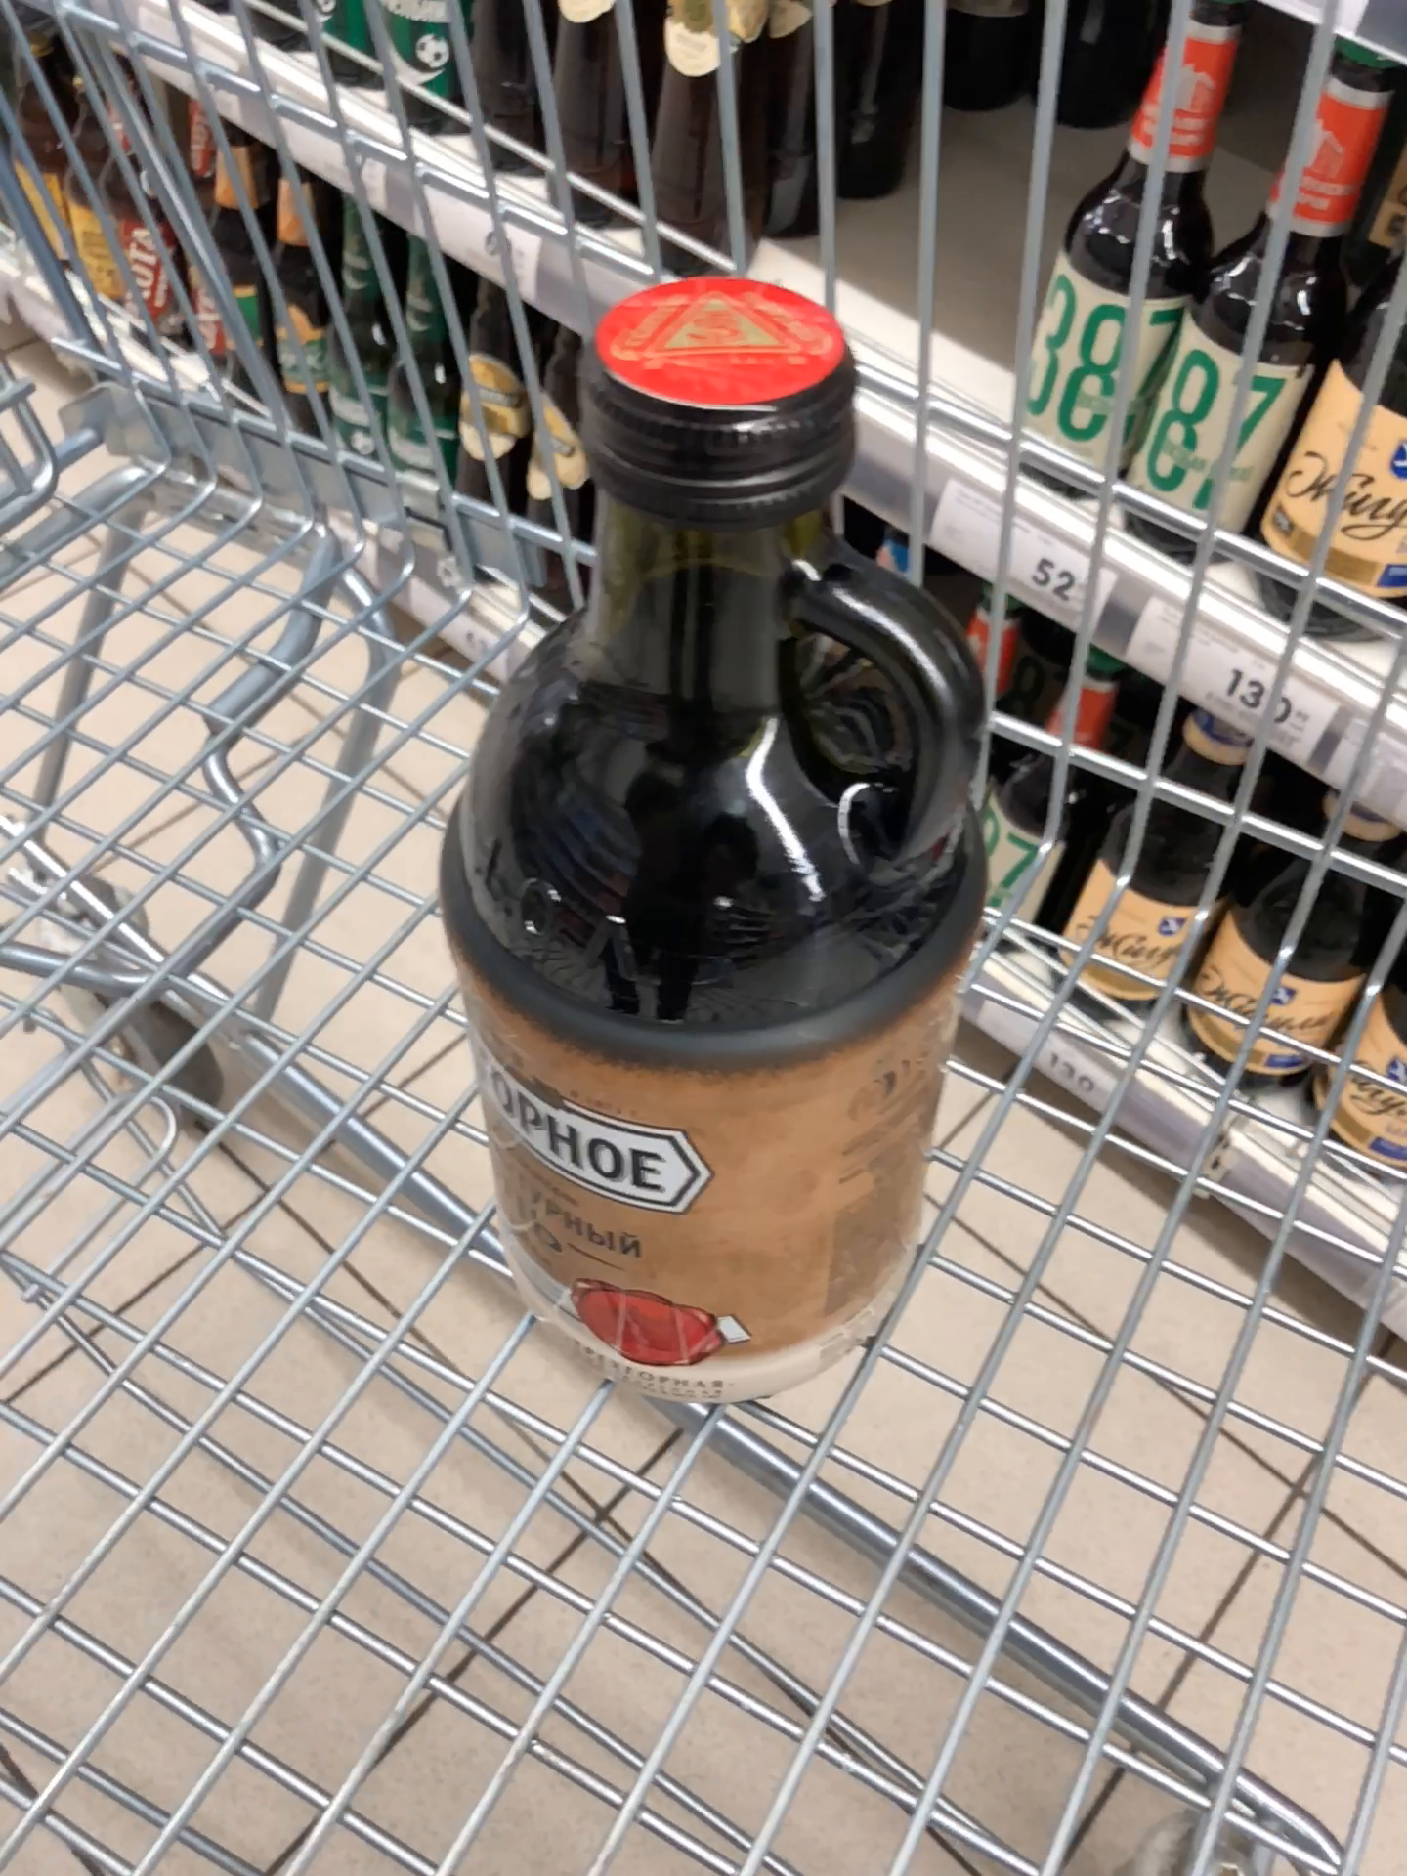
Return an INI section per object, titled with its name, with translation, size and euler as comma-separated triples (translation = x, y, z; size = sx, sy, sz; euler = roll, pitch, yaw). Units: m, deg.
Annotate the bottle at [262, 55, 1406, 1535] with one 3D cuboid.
[bottle]
translation = 0.006, -0.006, 0.278
size = 0.100, 0.229, 0.110
euler = -23, 56, -22
